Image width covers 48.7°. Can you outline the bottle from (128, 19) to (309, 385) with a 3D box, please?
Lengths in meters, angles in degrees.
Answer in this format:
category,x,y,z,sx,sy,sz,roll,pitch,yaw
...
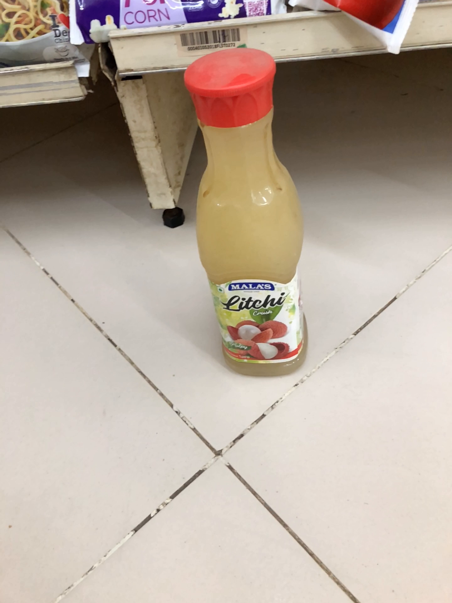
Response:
category,x,y,z,sx,sy,sz,roll,pitch,yaw
bottle,0.017,-0.050,0.402,0.090,0.288,0.091,-6,48,6
